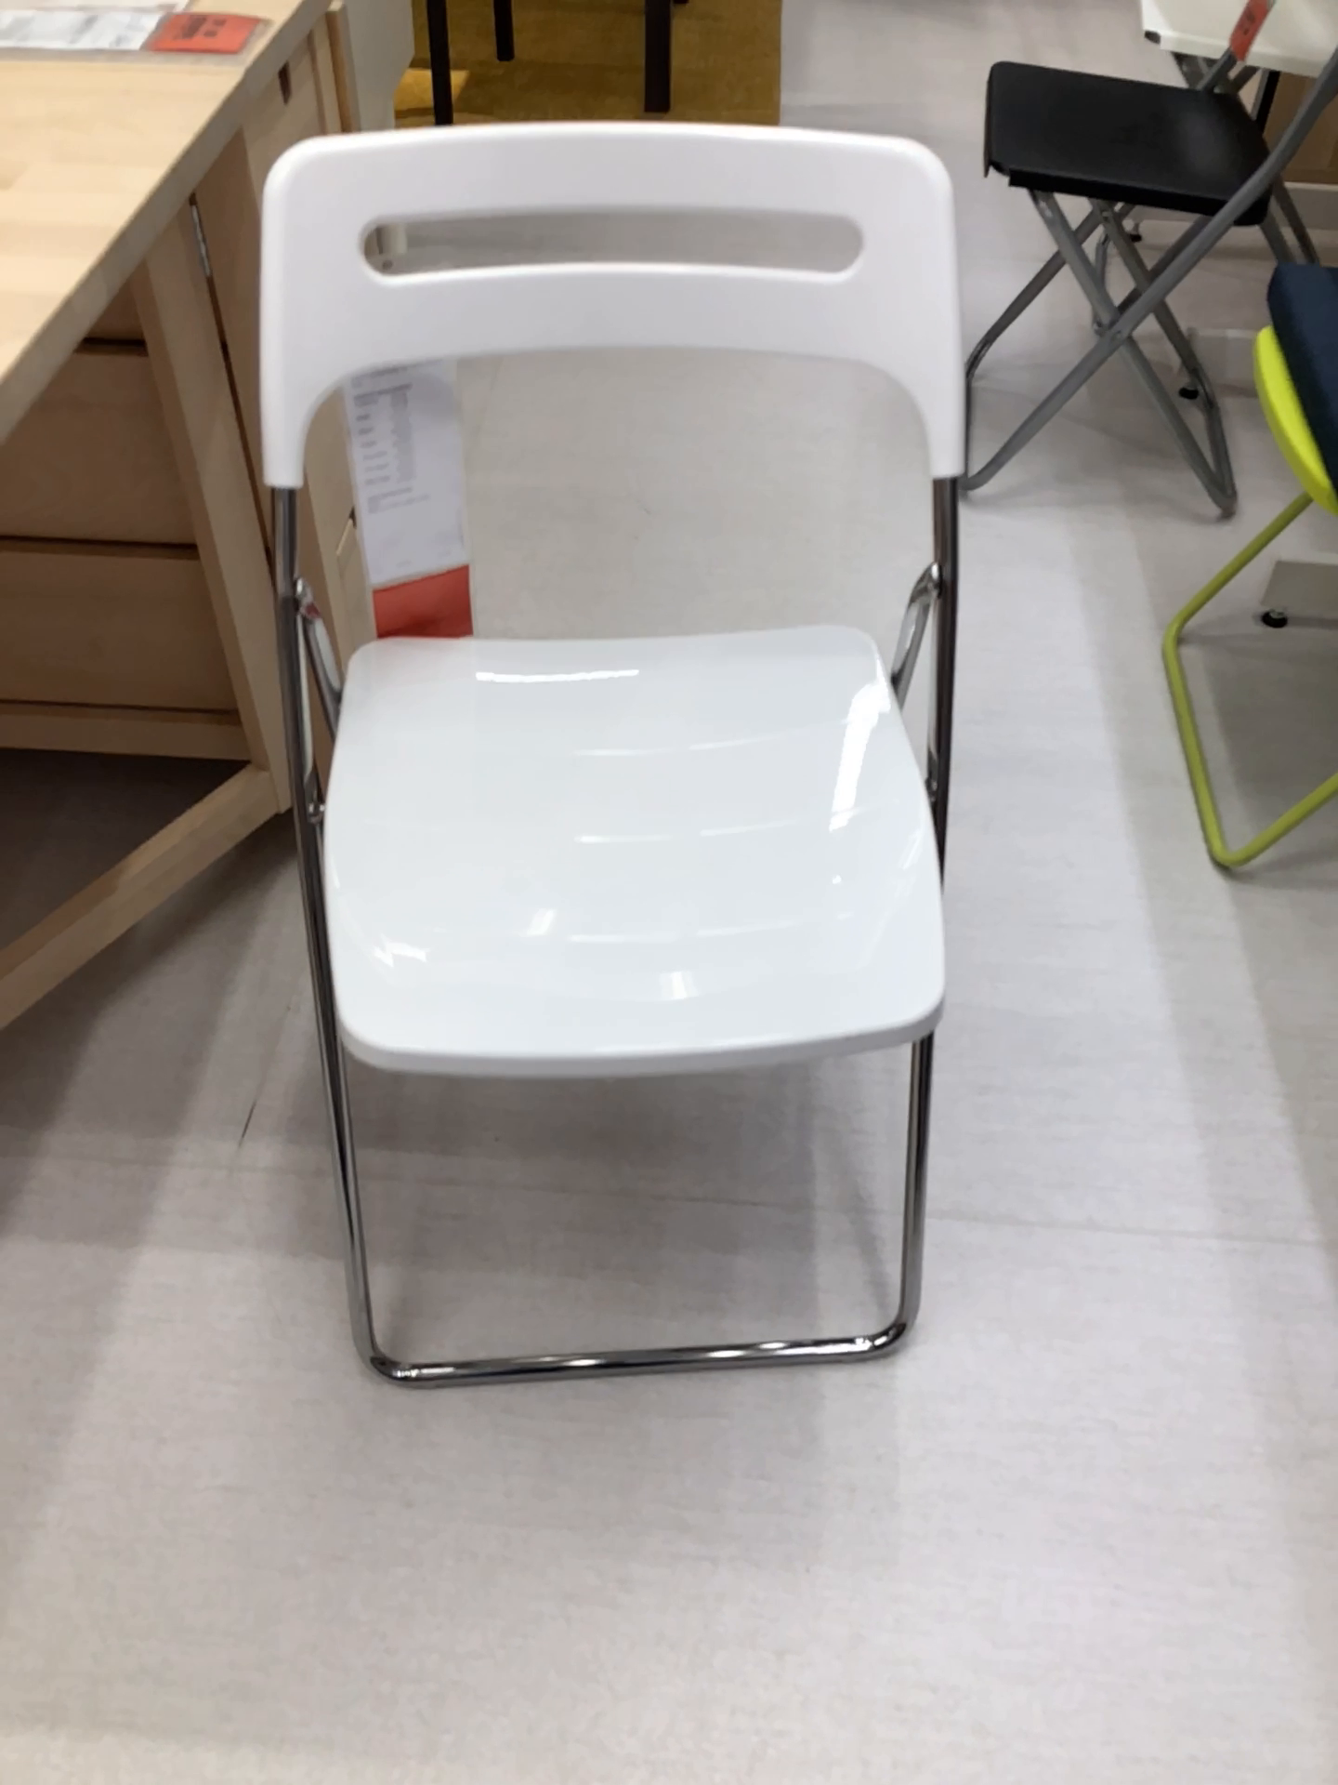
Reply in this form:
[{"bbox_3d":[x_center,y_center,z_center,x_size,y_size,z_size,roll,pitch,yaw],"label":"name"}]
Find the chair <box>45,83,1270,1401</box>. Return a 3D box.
[{"bbox_3d":[-0.019,-0.052,0.926,0.440,0.715,0.423,-2,46,-3],"label":"chair"}]
